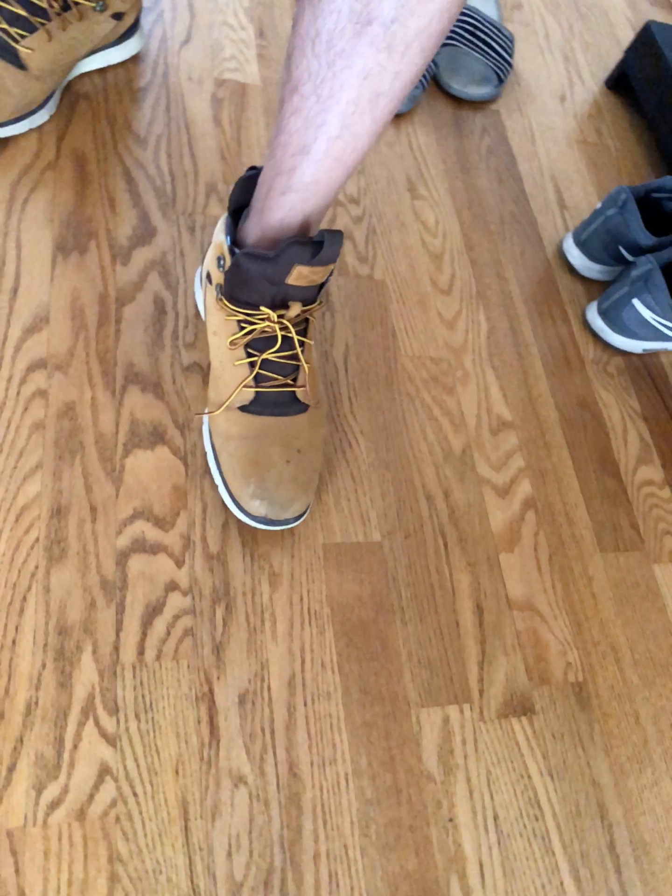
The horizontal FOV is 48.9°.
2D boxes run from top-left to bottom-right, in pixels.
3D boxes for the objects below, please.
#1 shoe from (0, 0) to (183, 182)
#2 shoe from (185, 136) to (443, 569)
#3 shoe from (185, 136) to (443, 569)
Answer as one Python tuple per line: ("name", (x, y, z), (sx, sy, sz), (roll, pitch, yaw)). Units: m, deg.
("shoe", (-0.301, -0.444, 0.726), (0.130, 0.159, 0.331), (29, 56, -3))
("shoe", (-0.036, -0.077, 0.597), (0.130, 0.139, 0.311), (0, 62, -20))
("shoe", (-0.036, -0.077, 0.597), (0.130, 0.139, 0.311), (0, 62, -20))
